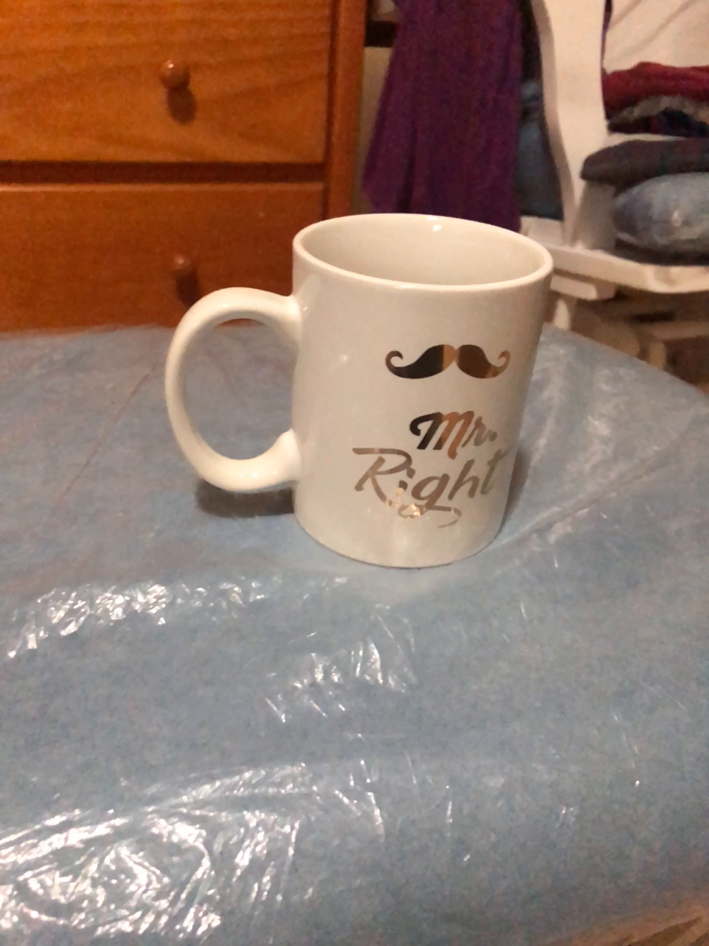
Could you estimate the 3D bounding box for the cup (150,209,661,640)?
[{"bbox_3d":[0.005,-0.025,0.278,0.140,0.110,0.100,-4,30,-13],"label":"cup"}]
